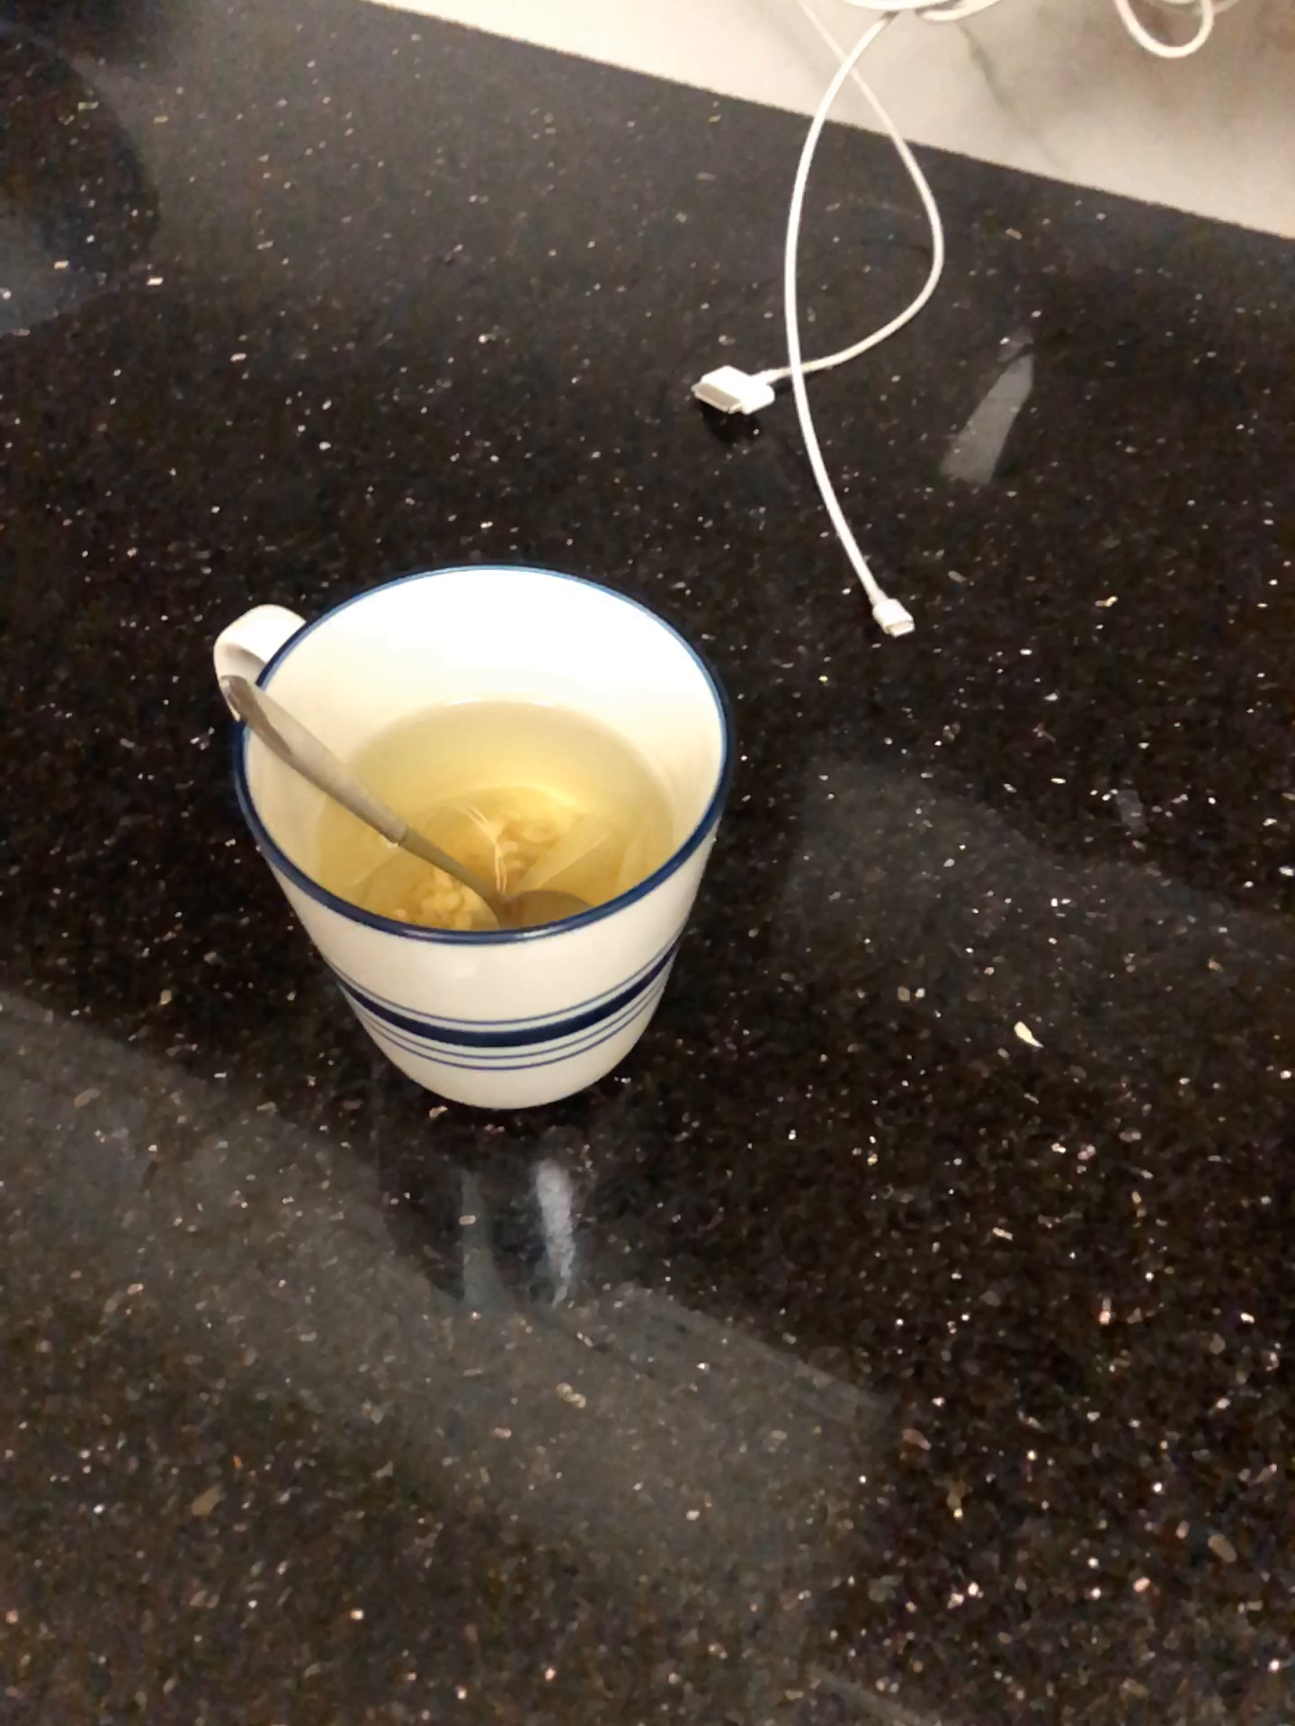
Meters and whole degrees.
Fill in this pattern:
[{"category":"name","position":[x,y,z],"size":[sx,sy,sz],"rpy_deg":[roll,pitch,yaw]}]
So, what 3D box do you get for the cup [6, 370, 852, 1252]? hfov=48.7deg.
[{"category":"cup","position":[-0.041,-0.011,0.290],"size":[0.120,0.100,0.090],"rpy_deg":[40,63,22]}]
